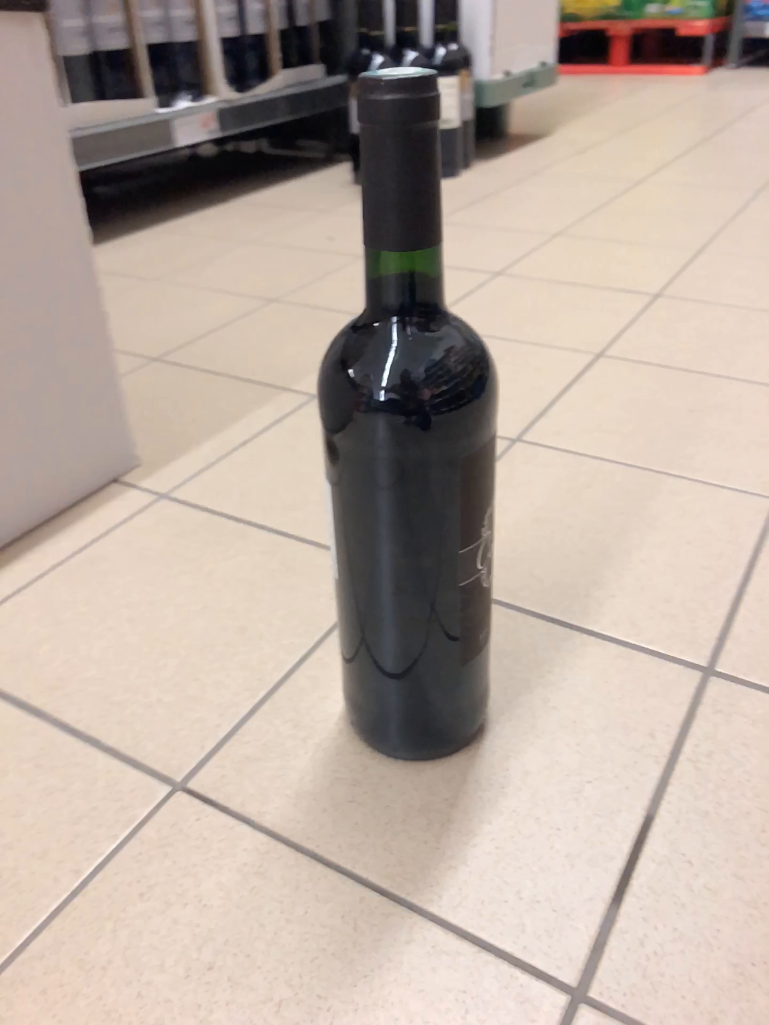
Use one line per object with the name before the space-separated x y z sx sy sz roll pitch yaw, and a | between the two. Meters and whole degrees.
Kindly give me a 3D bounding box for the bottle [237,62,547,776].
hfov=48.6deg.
bottle | 0.013 -0.027 0.368 0.090 0.288 0.091 -2 31 1
